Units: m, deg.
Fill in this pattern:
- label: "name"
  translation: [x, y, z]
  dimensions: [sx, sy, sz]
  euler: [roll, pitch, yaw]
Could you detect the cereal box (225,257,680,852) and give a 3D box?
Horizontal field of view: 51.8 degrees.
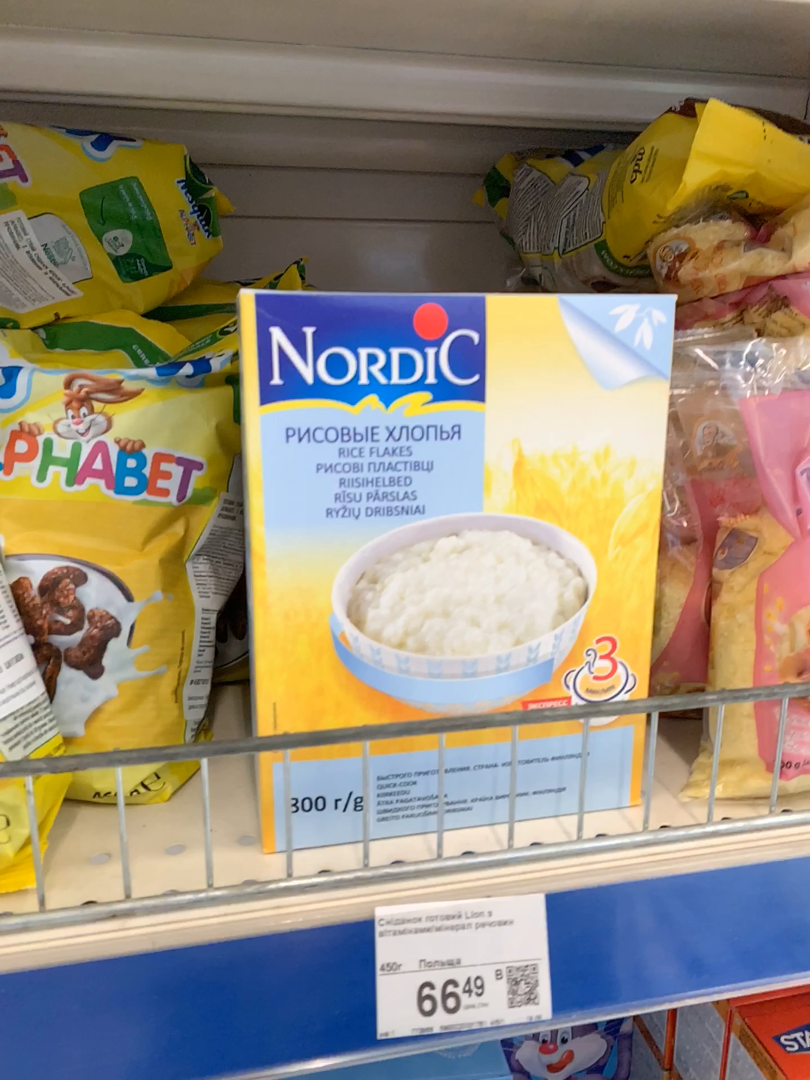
- label: "cereal box"
  translation: [0.012, -0.001, 0.325]
  dimensions: [0.150, 0.199, 0.080]
  euler: [-3, 12, -12]
